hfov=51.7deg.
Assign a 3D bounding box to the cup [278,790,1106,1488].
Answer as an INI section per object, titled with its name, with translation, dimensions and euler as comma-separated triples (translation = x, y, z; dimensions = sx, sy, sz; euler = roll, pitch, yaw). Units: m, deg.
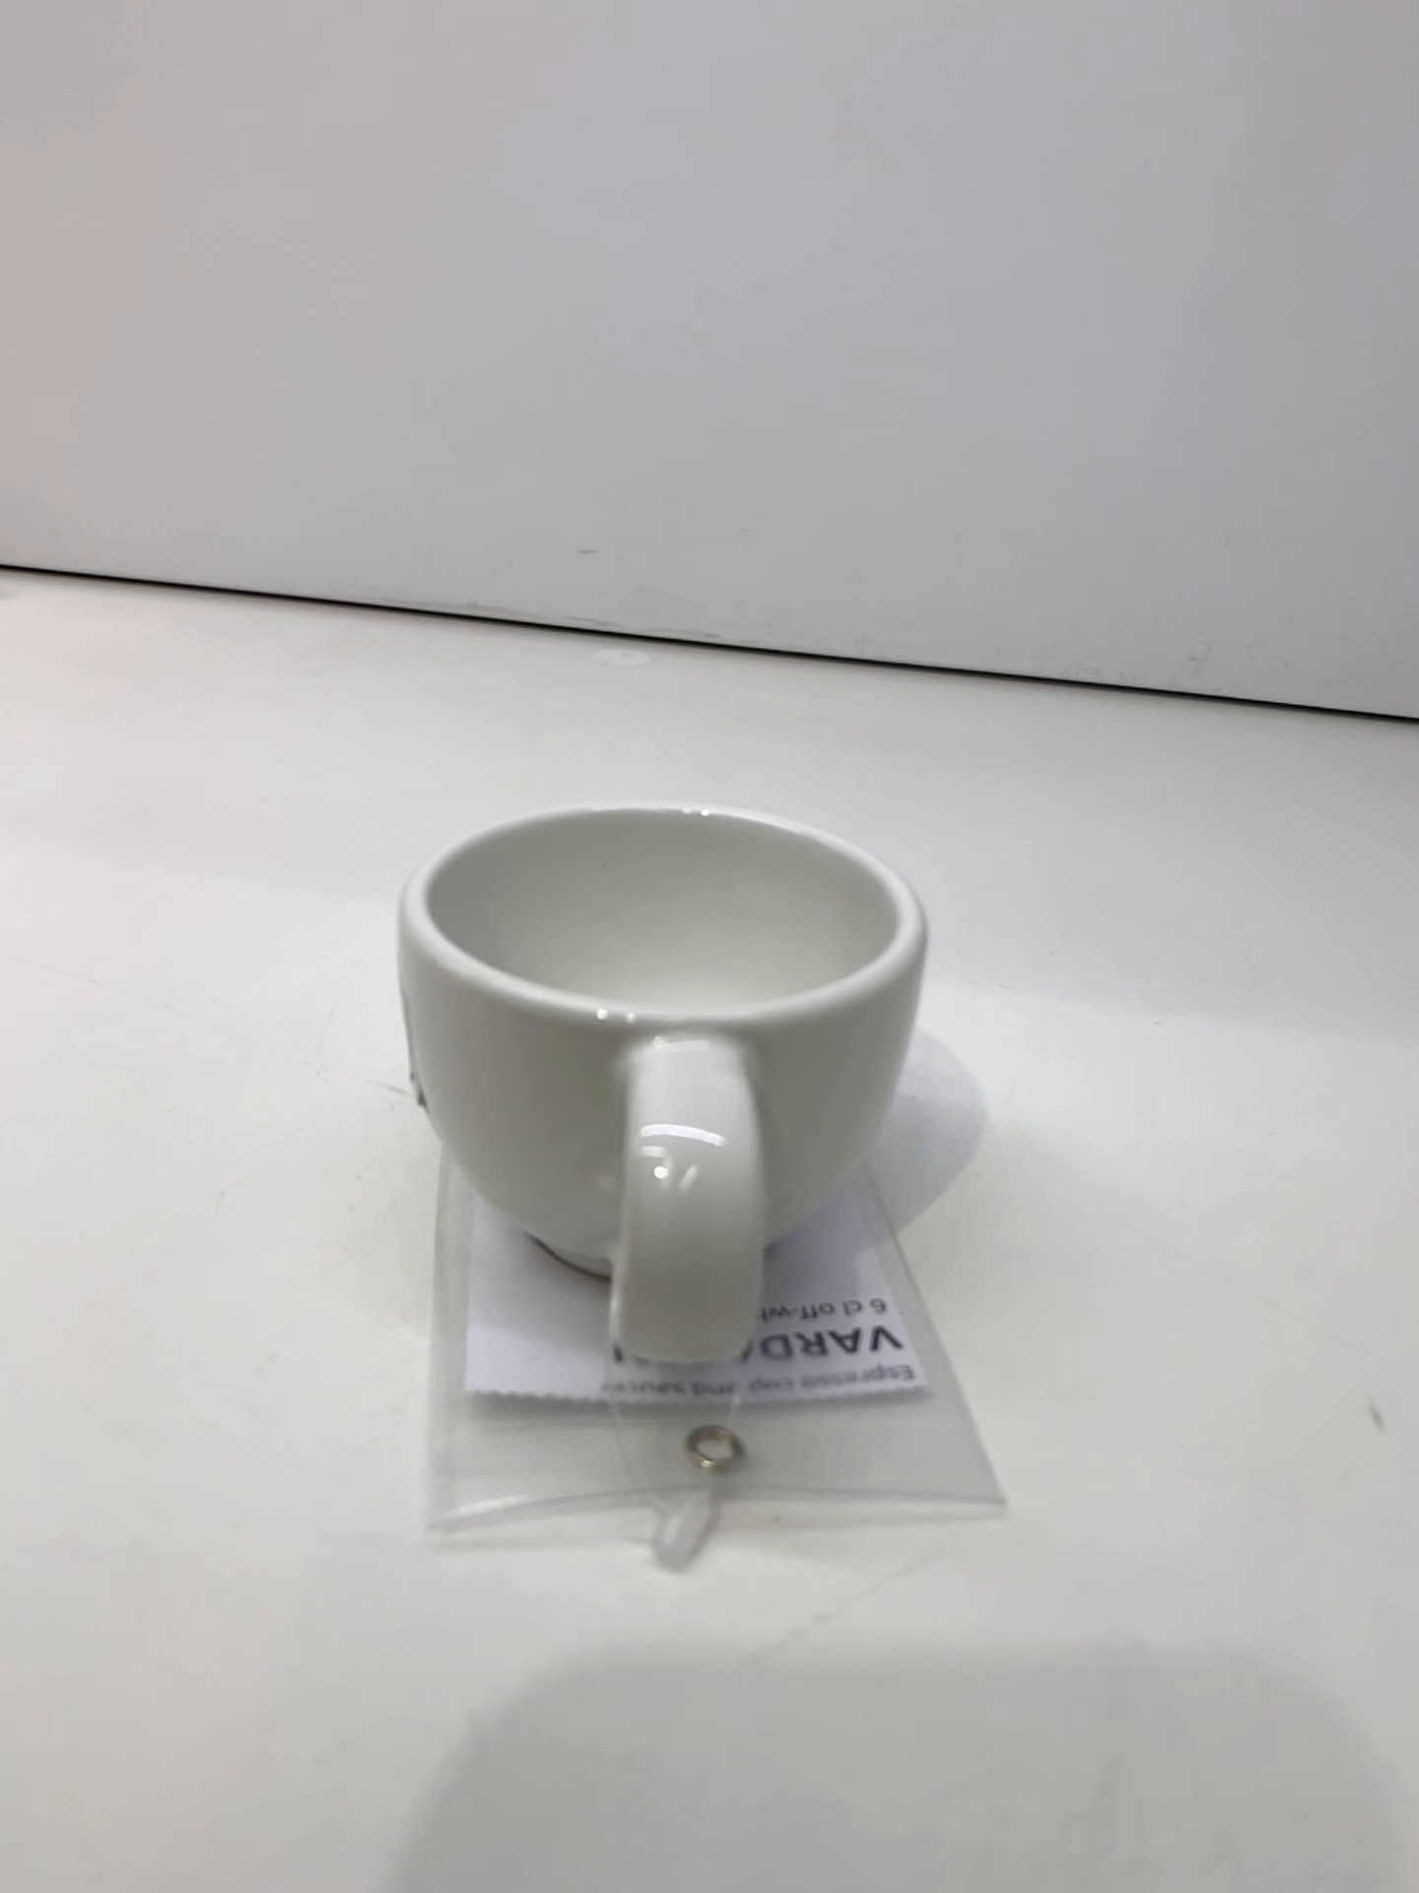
[cup]
translation = -0.006, 0.015, 0.167
dimensions = 0.070, 0.040, 0.080
euler = 1, 25, -7
